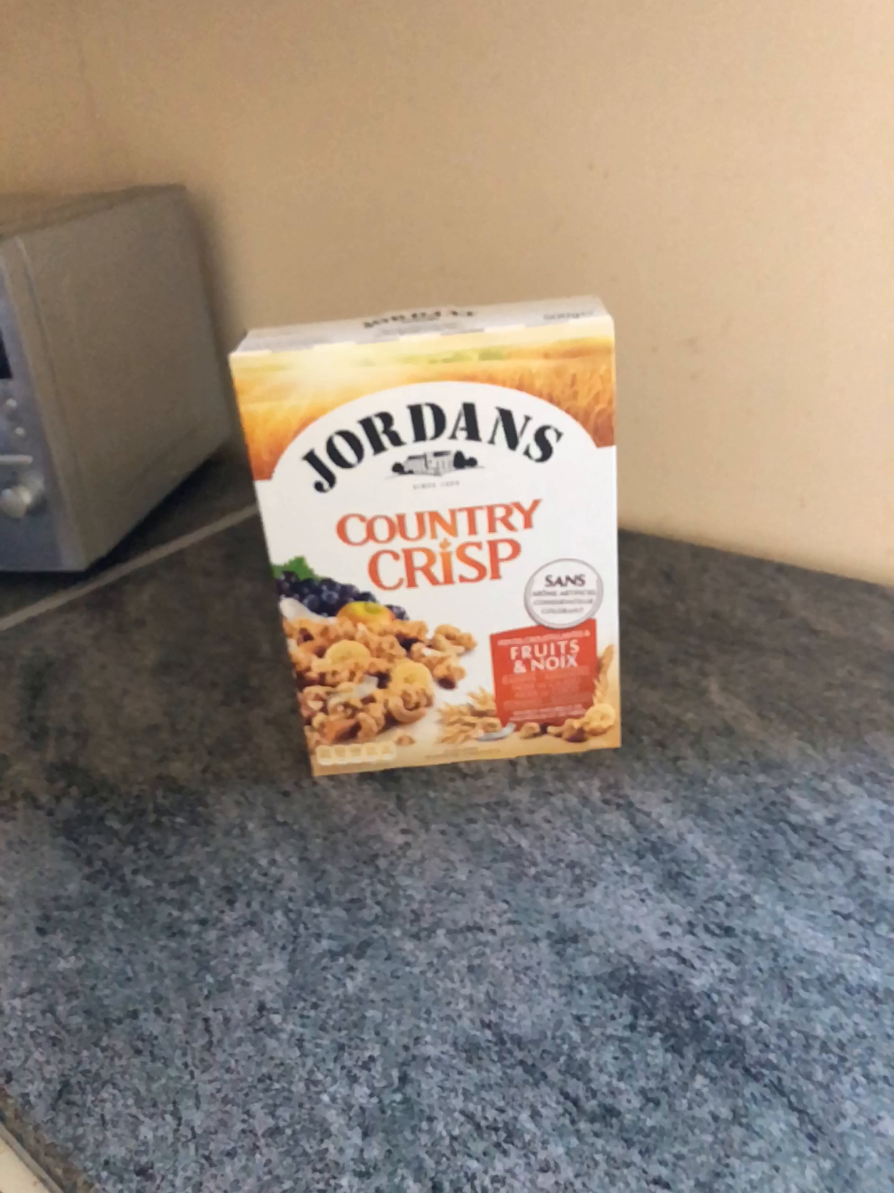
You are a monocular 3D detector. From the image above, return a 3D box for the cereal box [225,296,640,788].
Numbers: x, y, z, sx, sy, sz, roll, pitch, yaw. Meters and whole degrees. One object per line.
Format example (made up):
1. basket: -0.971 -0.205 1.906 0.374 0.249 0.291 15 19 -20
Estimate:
1. cereal box: 0.000 -0.022 0.537 0.190 0.249 0.060 -5 28 -1
